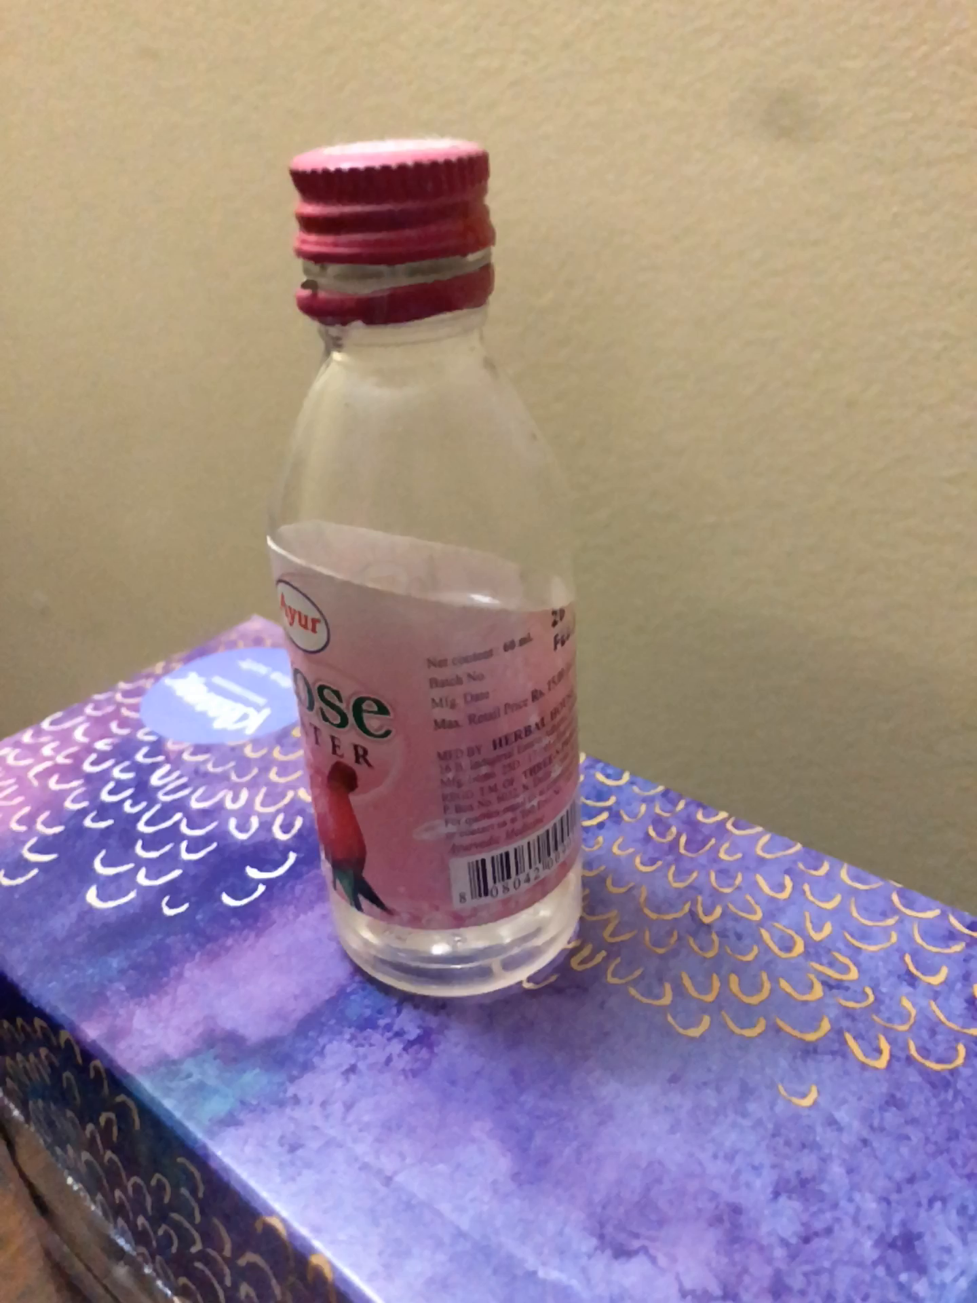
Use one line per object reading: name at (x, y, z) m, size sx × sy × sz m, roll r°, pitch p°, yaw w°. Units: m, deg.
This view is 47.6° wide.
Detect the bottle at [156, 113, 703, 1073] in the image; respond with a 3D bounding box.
bottle at (-0.005, -0.008, 0.132) m, size 0.040 × 0.100 × 0.040 m, roll -2°, pitch 27°, yaw 1°
